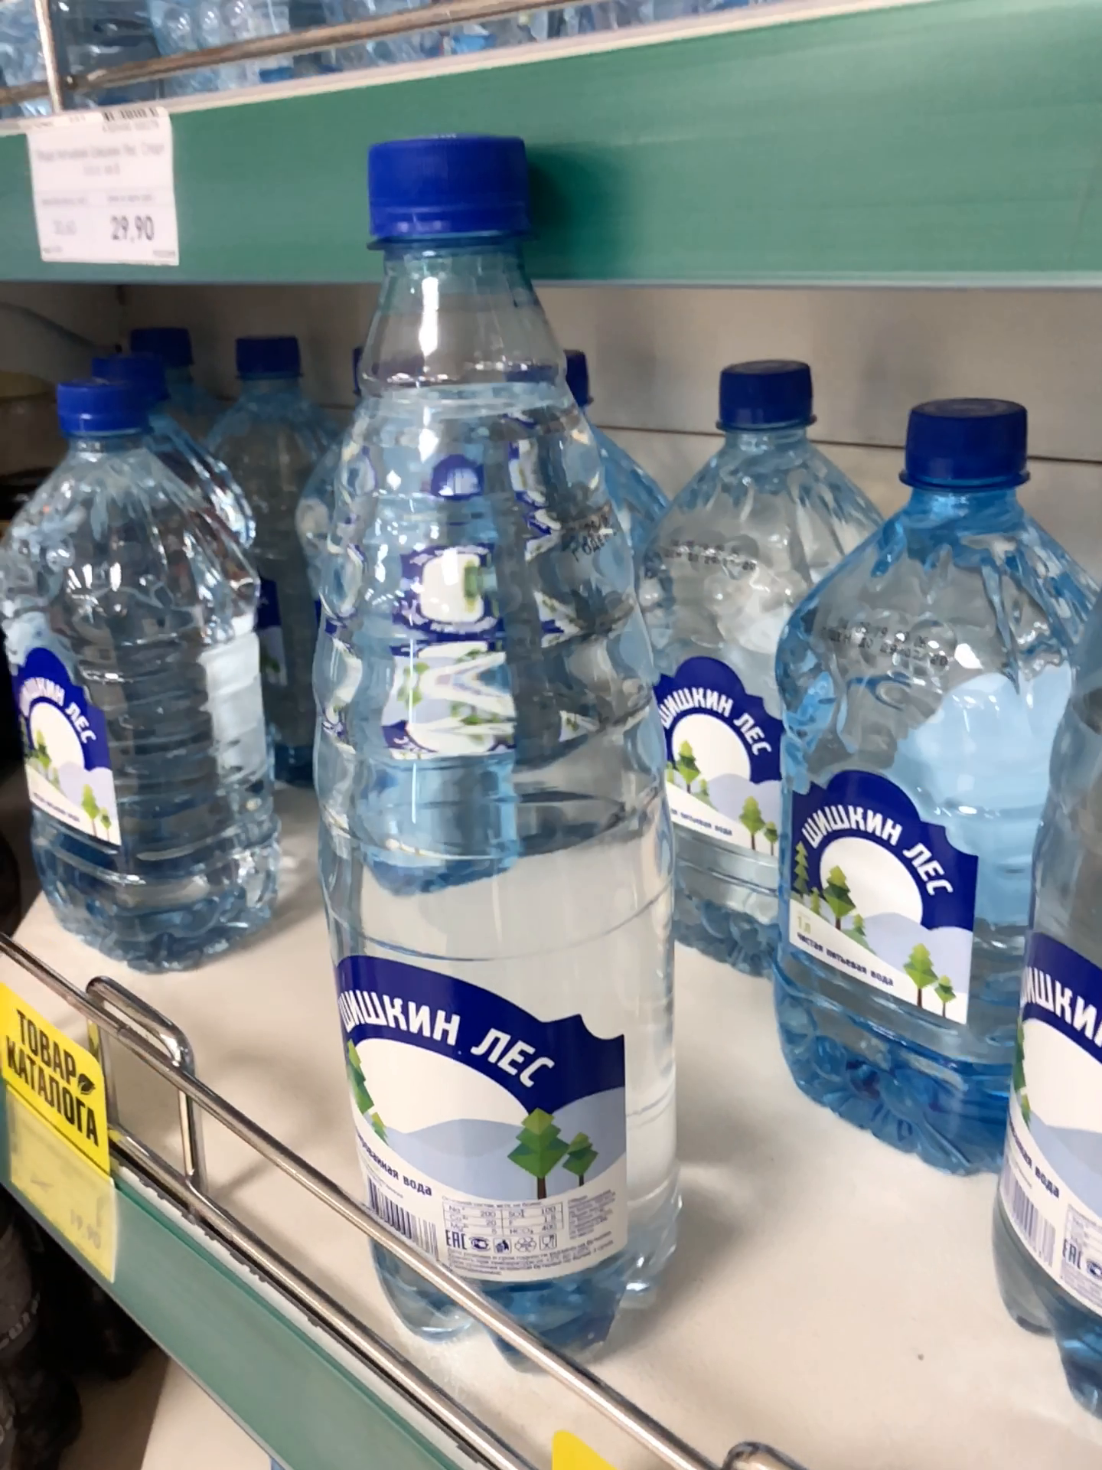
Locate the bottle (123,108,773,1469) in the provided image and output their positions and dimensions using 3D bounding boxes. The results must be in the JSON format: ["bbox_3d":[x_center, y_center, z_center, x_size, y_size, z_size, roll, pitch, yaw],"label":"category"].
[{"bbox_3d":[-0.010,0.017,0.277,0.090,0.272,0.080,12,26,34],"label":"bottle"}]
